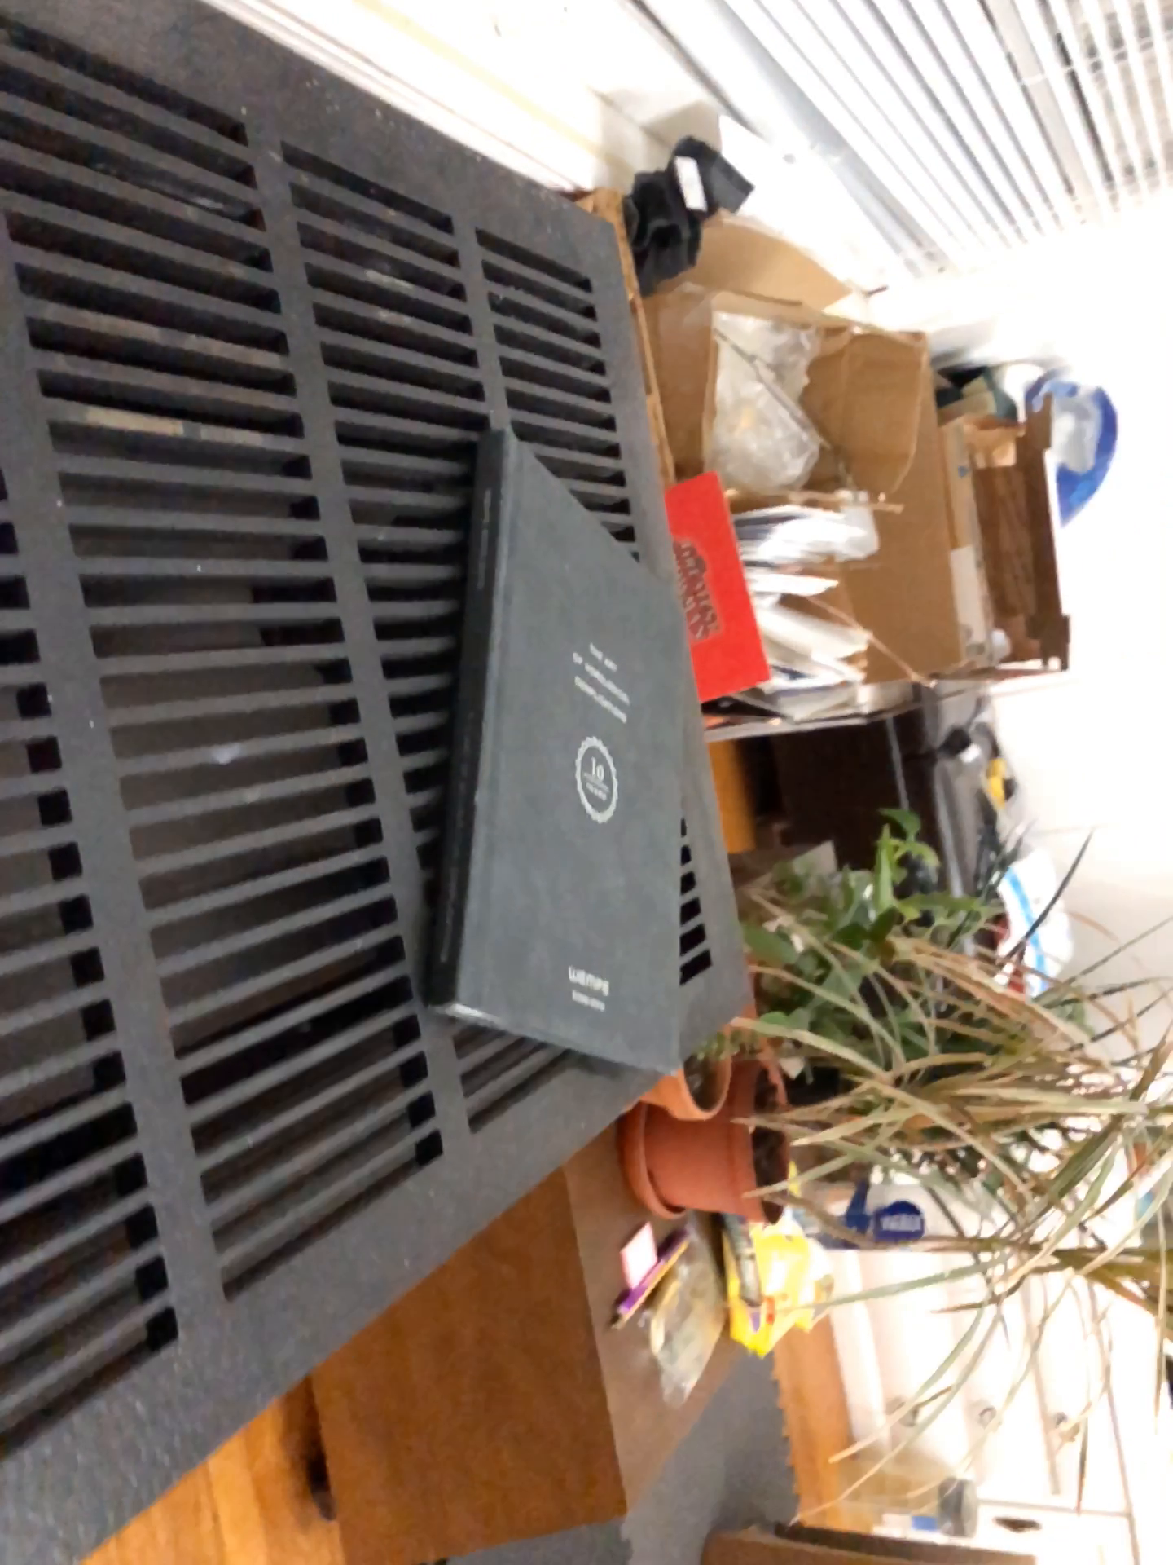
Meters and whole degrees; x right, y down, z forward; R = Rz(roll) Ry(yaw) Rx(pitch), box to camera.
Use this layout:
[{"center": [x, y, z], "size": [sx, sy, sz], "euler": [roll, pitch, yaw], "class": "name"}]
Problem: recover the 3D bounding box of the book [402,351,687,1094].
[{"center": [-0.005, -0.016, 0.506], "size": [0.161, 0.020, 0.250], "euler": [33, 54, -54], "class": "book"}]
